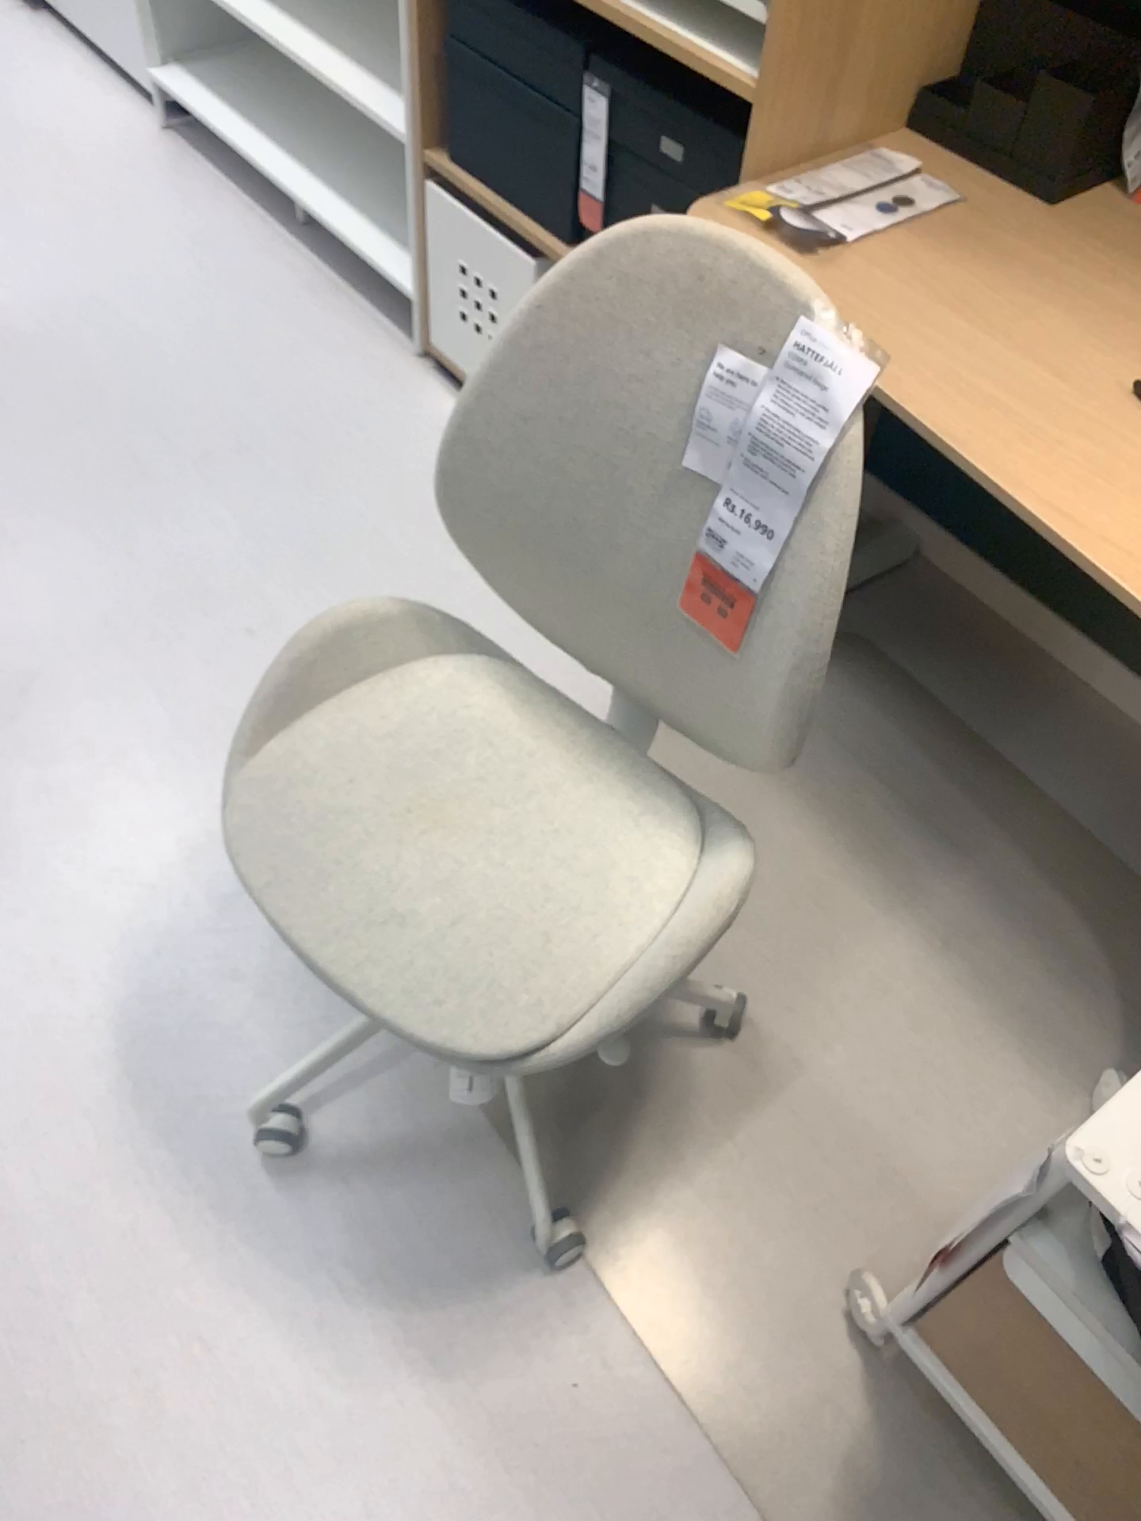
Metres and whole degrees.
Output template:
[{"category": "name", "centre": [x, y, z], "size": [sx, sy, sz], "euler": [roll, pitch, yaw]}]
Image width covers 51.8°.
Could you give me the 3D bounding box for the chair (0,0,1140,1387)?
[{"category": "chair", "centre": [-0.082, -0.001, 1.133], "size": [0.631, 0.997, 0.641], "euler": [38, 58, 23]}]
